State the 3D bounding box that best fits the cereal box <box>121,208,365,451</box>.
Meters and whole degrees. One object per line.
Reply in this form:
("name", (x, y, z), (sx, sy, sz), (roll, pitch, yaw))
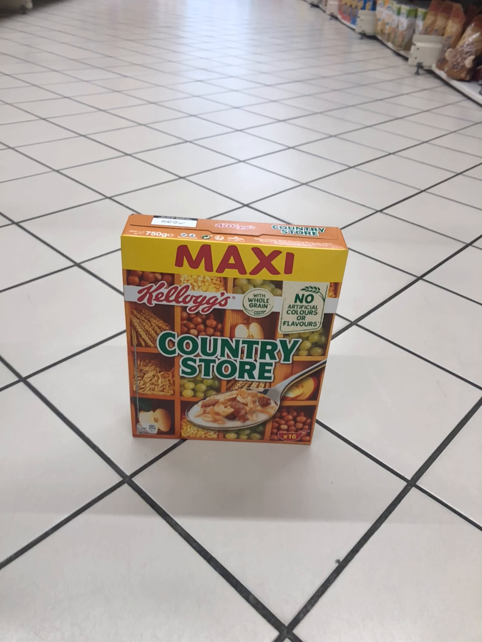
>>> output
("cereal box", (-0.006, 0.019, 0.525), (0.200, 0.239, 0.060), (3, 34, -3))
